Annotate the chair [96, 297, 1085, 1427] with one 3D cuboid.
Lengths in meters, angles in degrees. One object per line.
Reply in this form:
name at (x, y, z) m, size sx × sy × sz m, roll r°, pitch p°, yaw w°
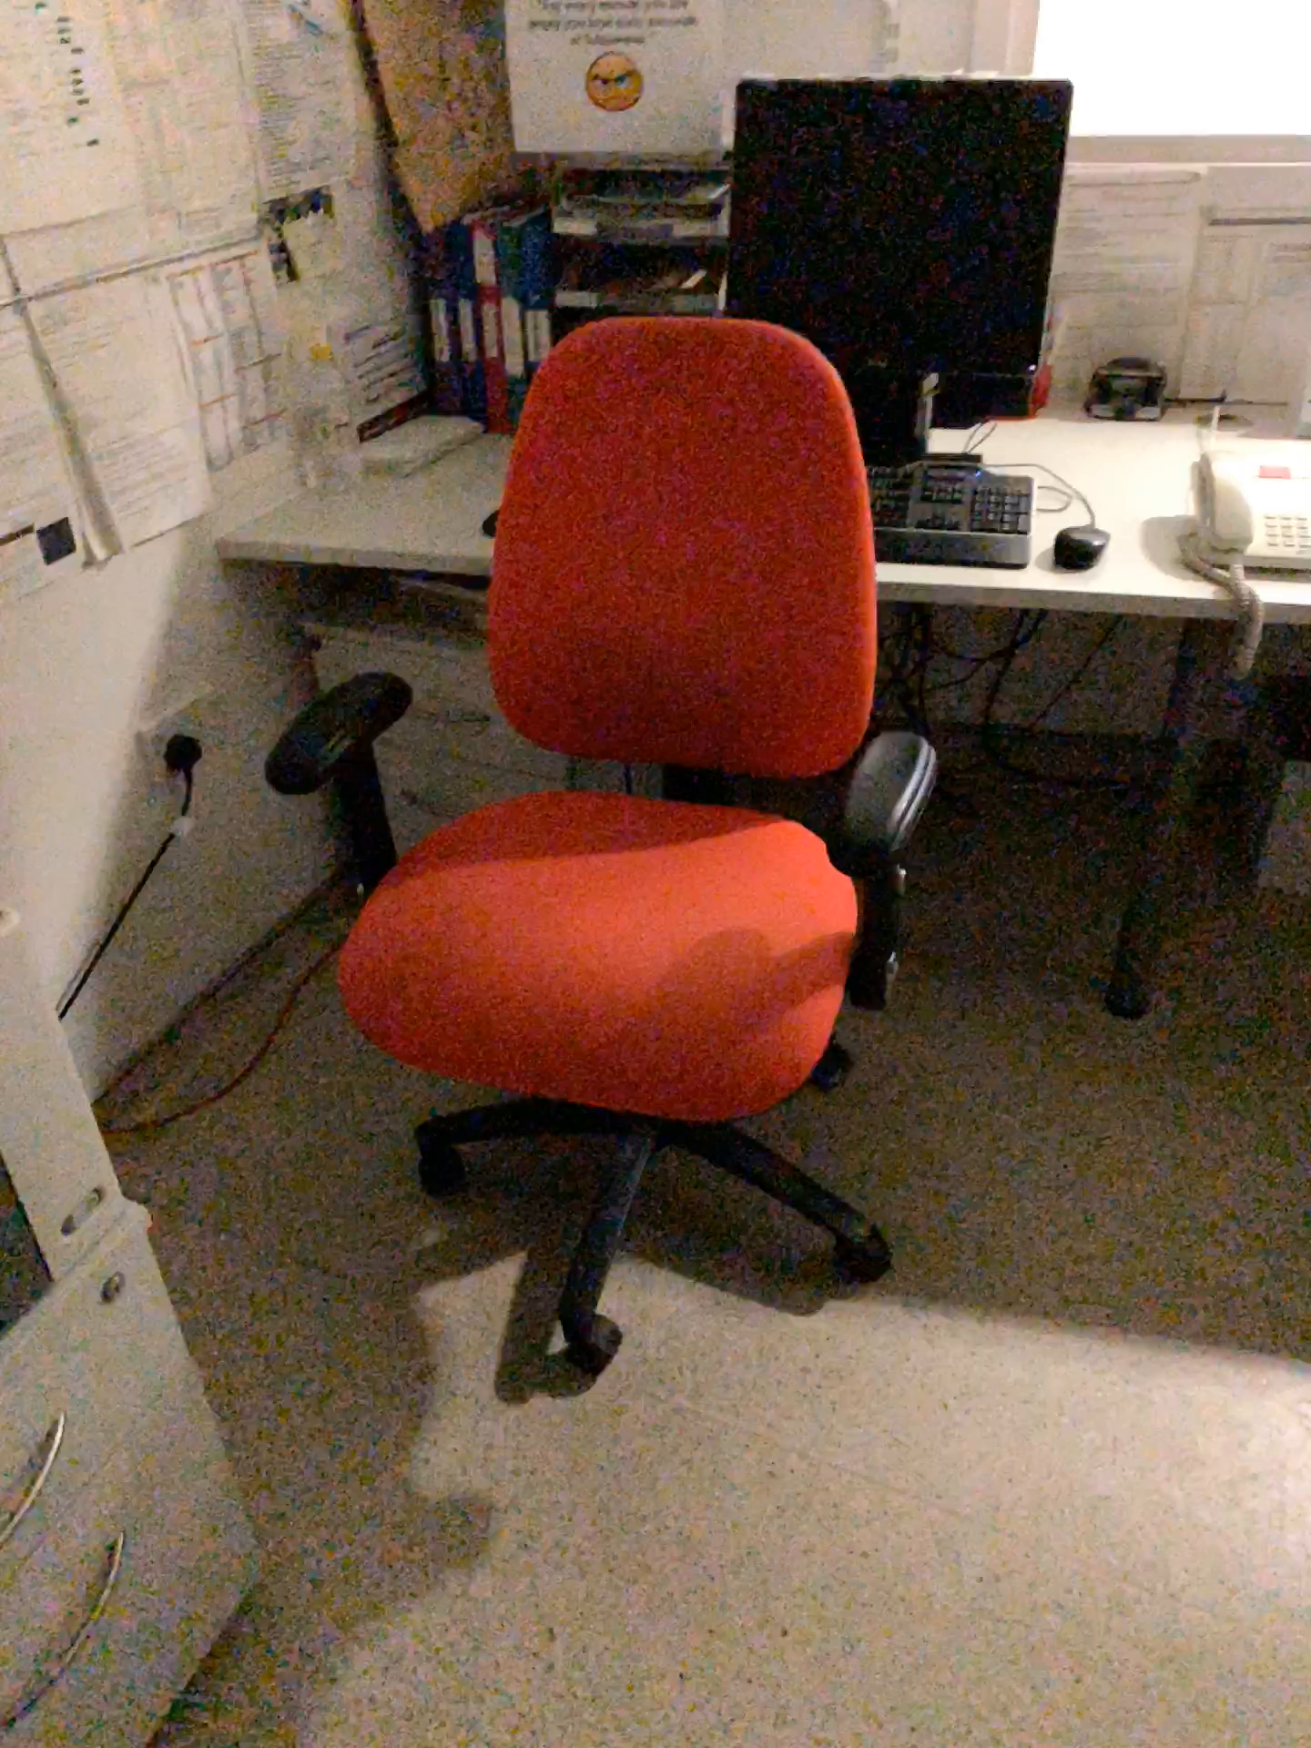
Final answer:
chair at (0.010, -0.041, 1.403) m, size 0.670 × 0.921 × 0.656 m, roll 5°, pitch 35°, yaw 10°
